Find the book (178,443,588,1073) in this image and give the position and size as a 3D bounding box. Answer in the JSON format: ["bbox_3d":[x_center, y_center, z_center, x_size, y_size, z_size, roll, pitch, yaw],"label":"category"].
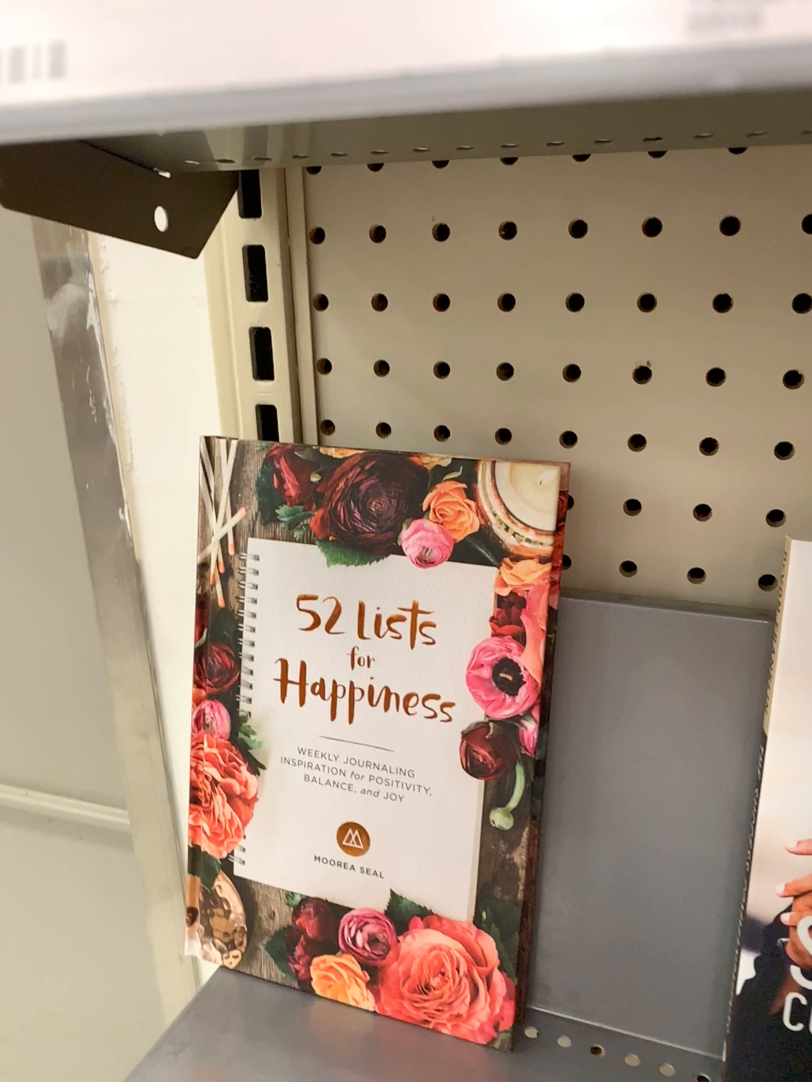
[{"bbox_3d":[-0.016,0.075,0.321,0.150,0.216,0.020,5,8,20],"label":"book"}]
